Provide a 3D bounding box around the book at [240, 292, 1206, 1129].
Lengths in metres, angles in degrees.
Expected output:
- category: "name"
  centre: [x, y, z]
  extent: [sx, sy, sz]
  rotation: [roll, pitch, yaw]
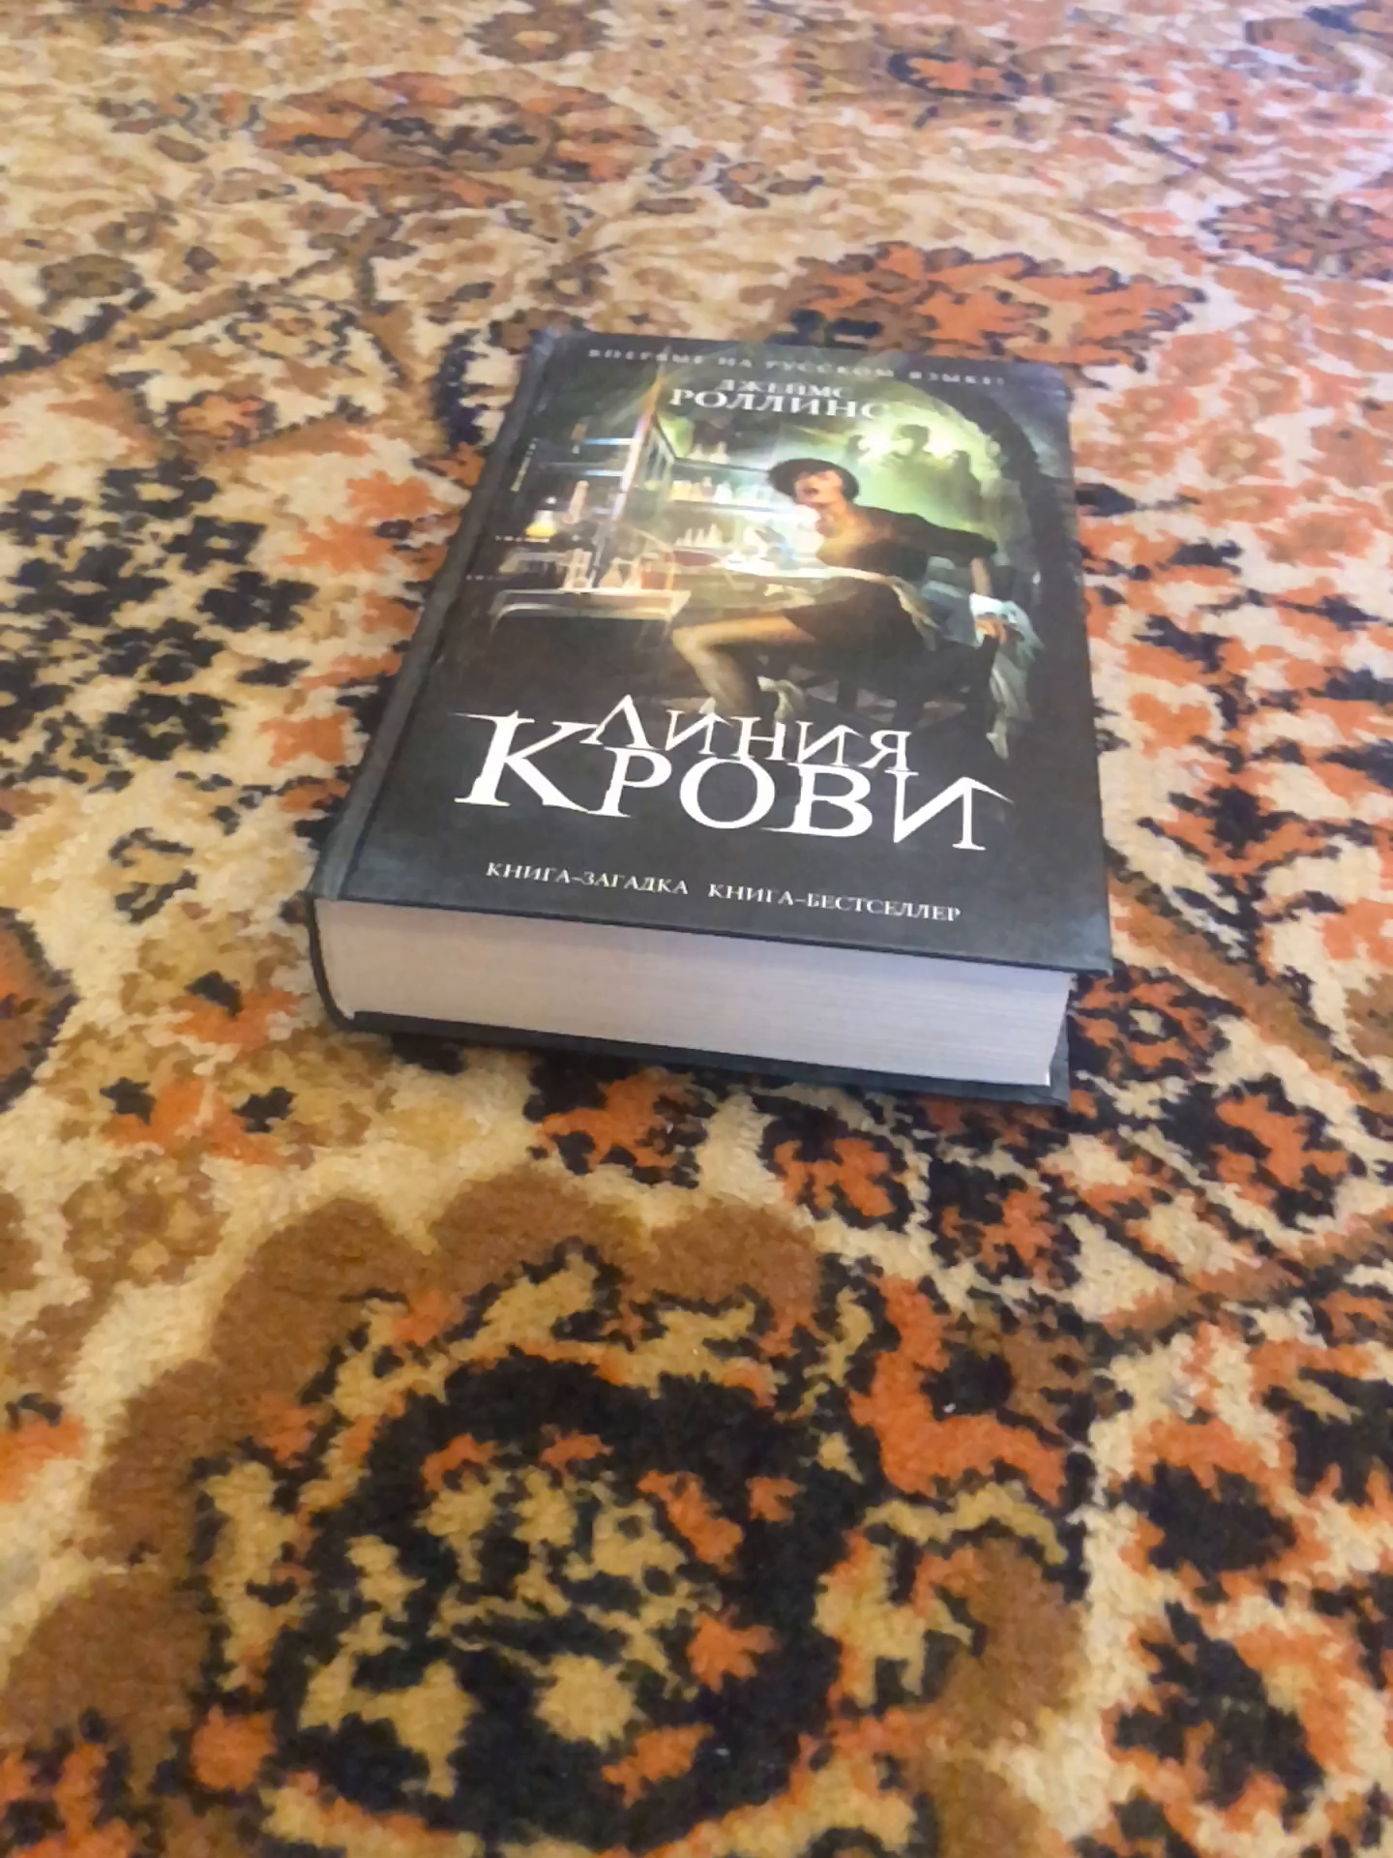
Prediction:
- category: "book"
  centre: [0.016, -0.067, 0.345]
  extent: [0.159, 0.040, 0.227]
  rotation: [6, 47, 4]
